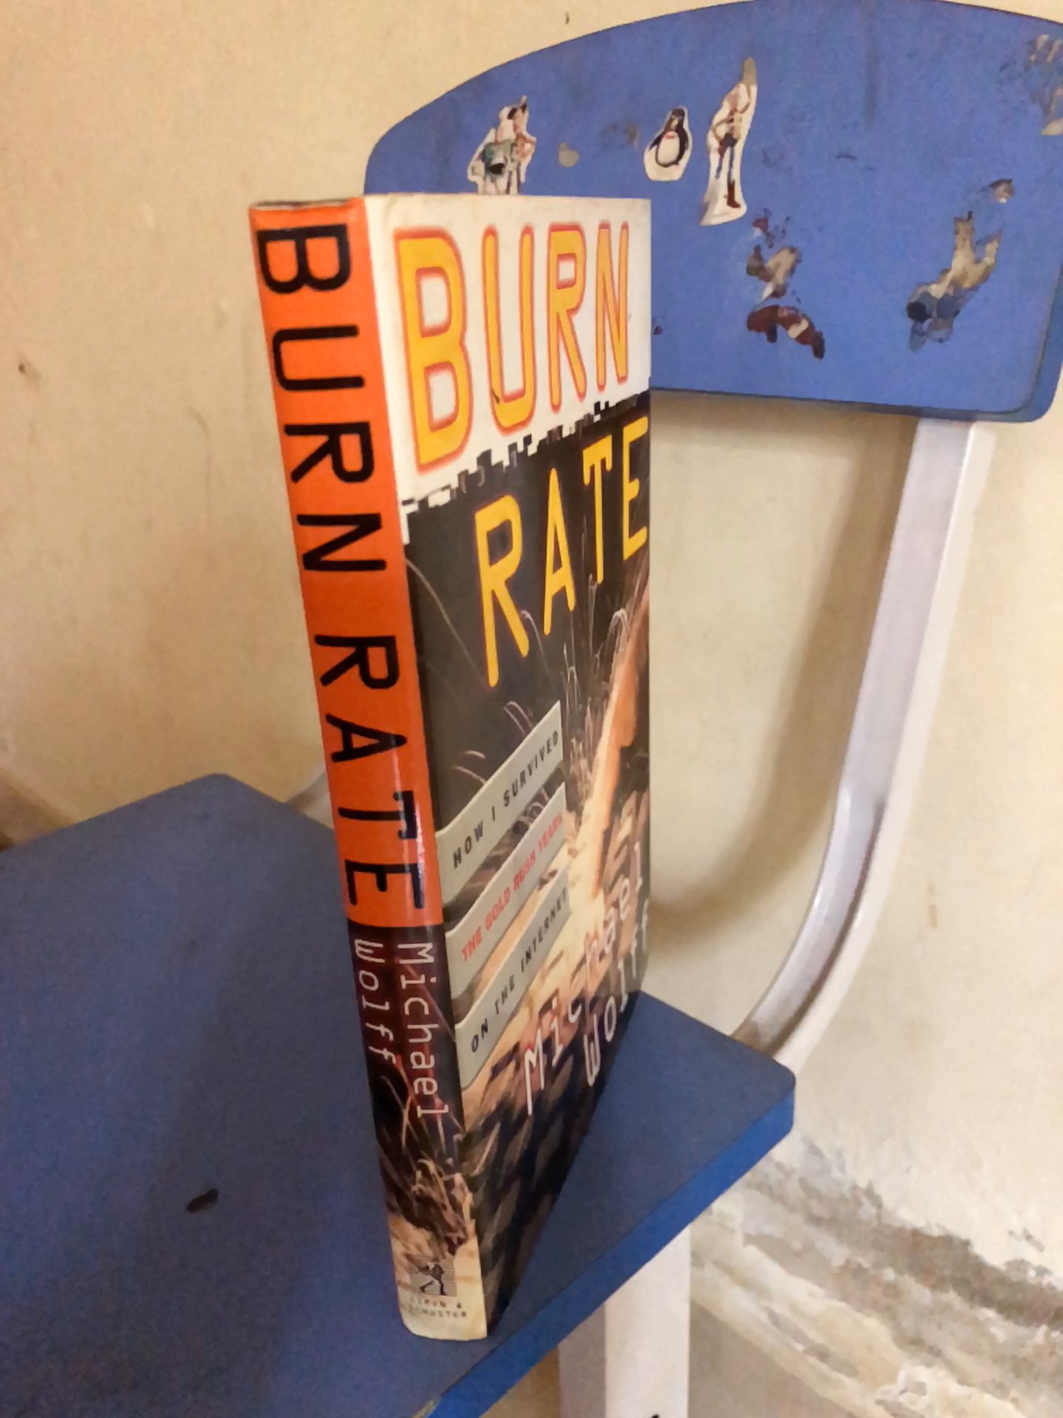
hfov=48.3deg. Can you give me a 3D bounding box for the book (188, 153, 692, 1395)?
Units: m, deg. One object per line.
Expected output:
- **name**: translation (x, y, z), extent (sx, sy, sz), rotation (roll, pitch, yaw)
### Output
- **book**: translation (0.002, -0.003, 0.307), extent (0.040, 0.239, 0.201), rotation (4, 21, 18)
